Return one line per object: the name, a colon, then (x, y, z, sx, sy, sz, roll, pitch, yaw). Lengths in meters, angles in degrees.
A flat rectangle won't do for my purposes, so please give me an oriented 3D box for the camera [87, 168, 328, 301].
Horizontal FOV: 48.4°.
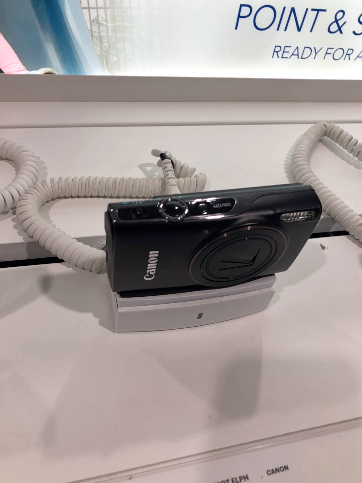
camera: (0.011, -0.004, 0.211, 0.113, 0.057, 0.026, -6, 49, -15)
